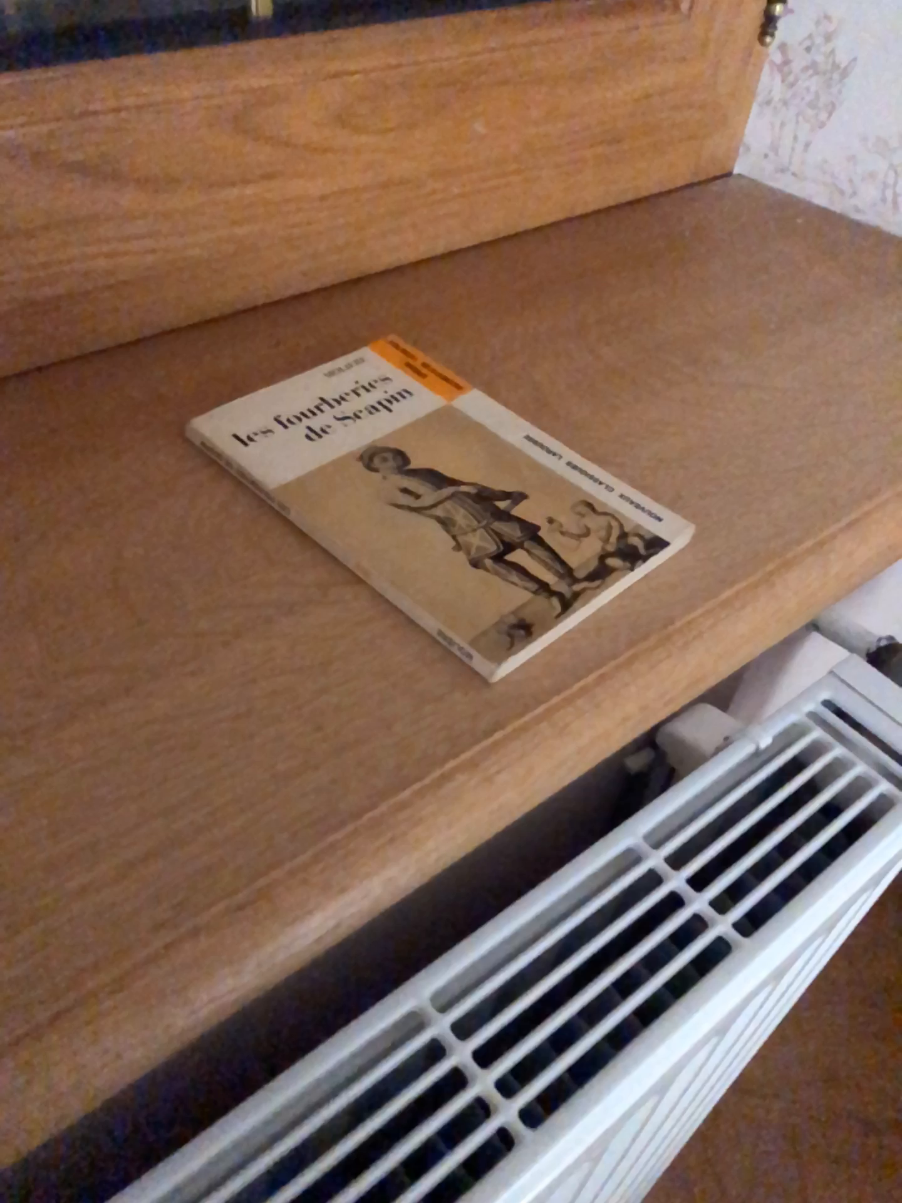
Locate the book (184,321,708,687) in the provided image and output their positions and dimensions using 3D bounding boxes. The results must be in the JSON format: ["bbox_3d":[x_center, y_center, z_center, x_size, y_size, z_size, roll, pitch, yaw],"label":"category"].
[{"bbox_3d":[-0.004,-0.051,0.394,0.174,0.015,0.117,38,51,27],"label":"book"}]
